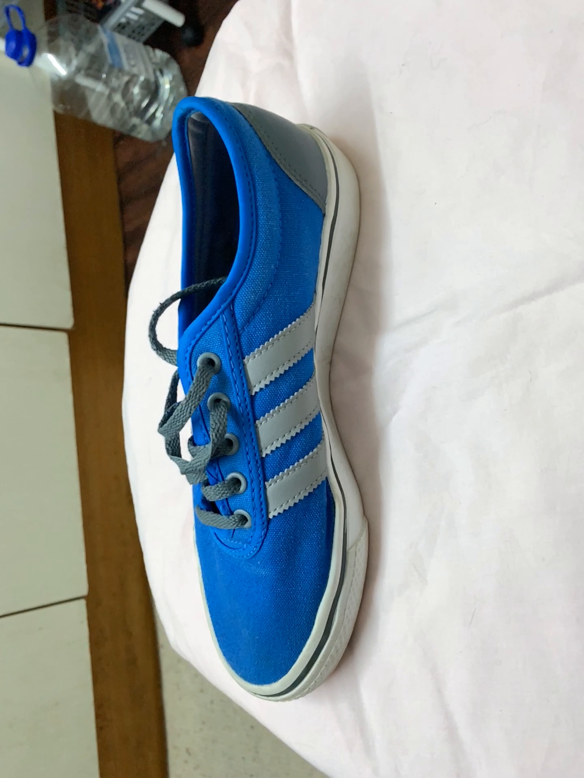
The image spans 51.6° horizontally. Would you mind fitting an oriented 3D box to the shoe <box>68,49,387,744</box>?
[{"bbox_3d":[-0.029,0.002,0.270,0.101,0.089,0.234,1,89,44],"label":"shoe"}]
